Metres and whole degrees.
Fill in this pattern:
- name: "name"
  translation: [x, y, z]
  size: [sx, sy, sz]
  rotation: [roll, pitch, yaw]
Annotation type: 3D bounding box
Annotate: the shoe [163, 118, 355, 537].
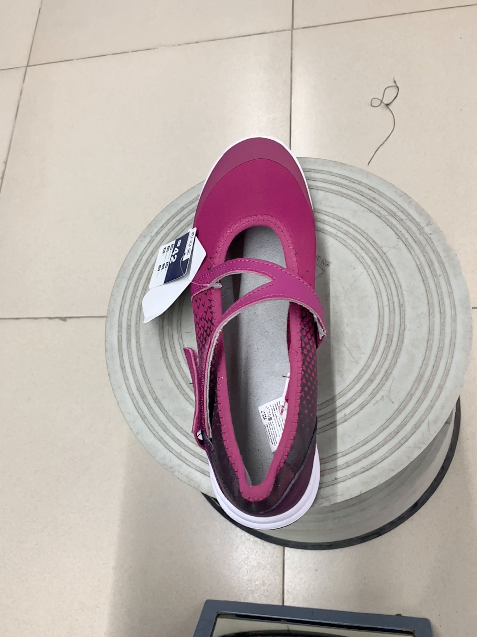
- name: "shoe"
  translation: [0.010, 0.002, 0.336]
  size: [0.100, 0.070, 0.260]
  rotation: [-7, 71, 10]
